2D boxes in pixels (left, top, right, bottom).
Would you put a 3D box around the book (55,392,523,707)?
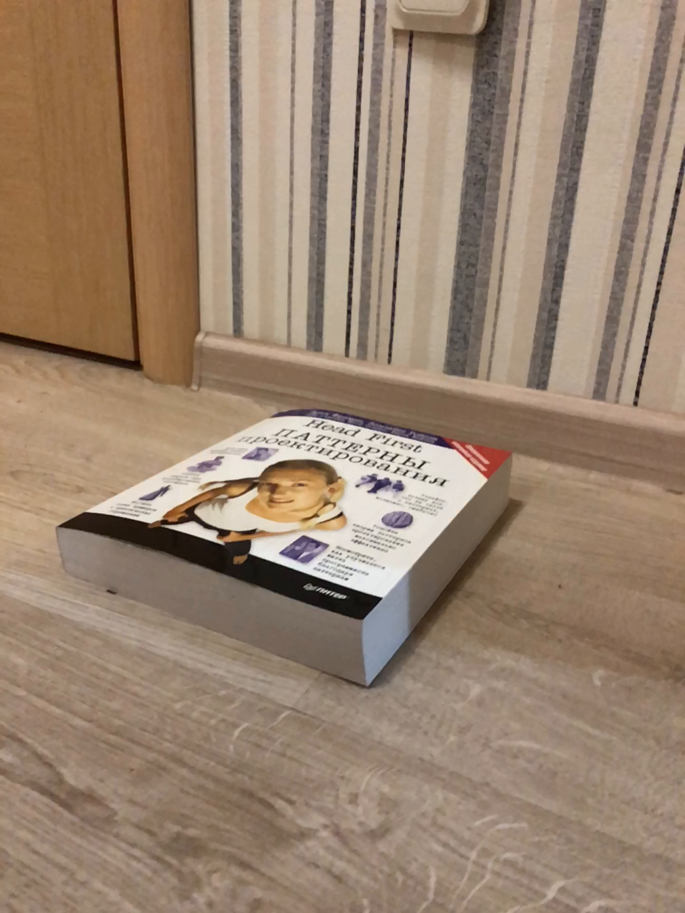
[{"bbox_3d":[-0.018,0.034,0.496,0.206,0.049,0.241,14,27,25],"label":"book"}]
